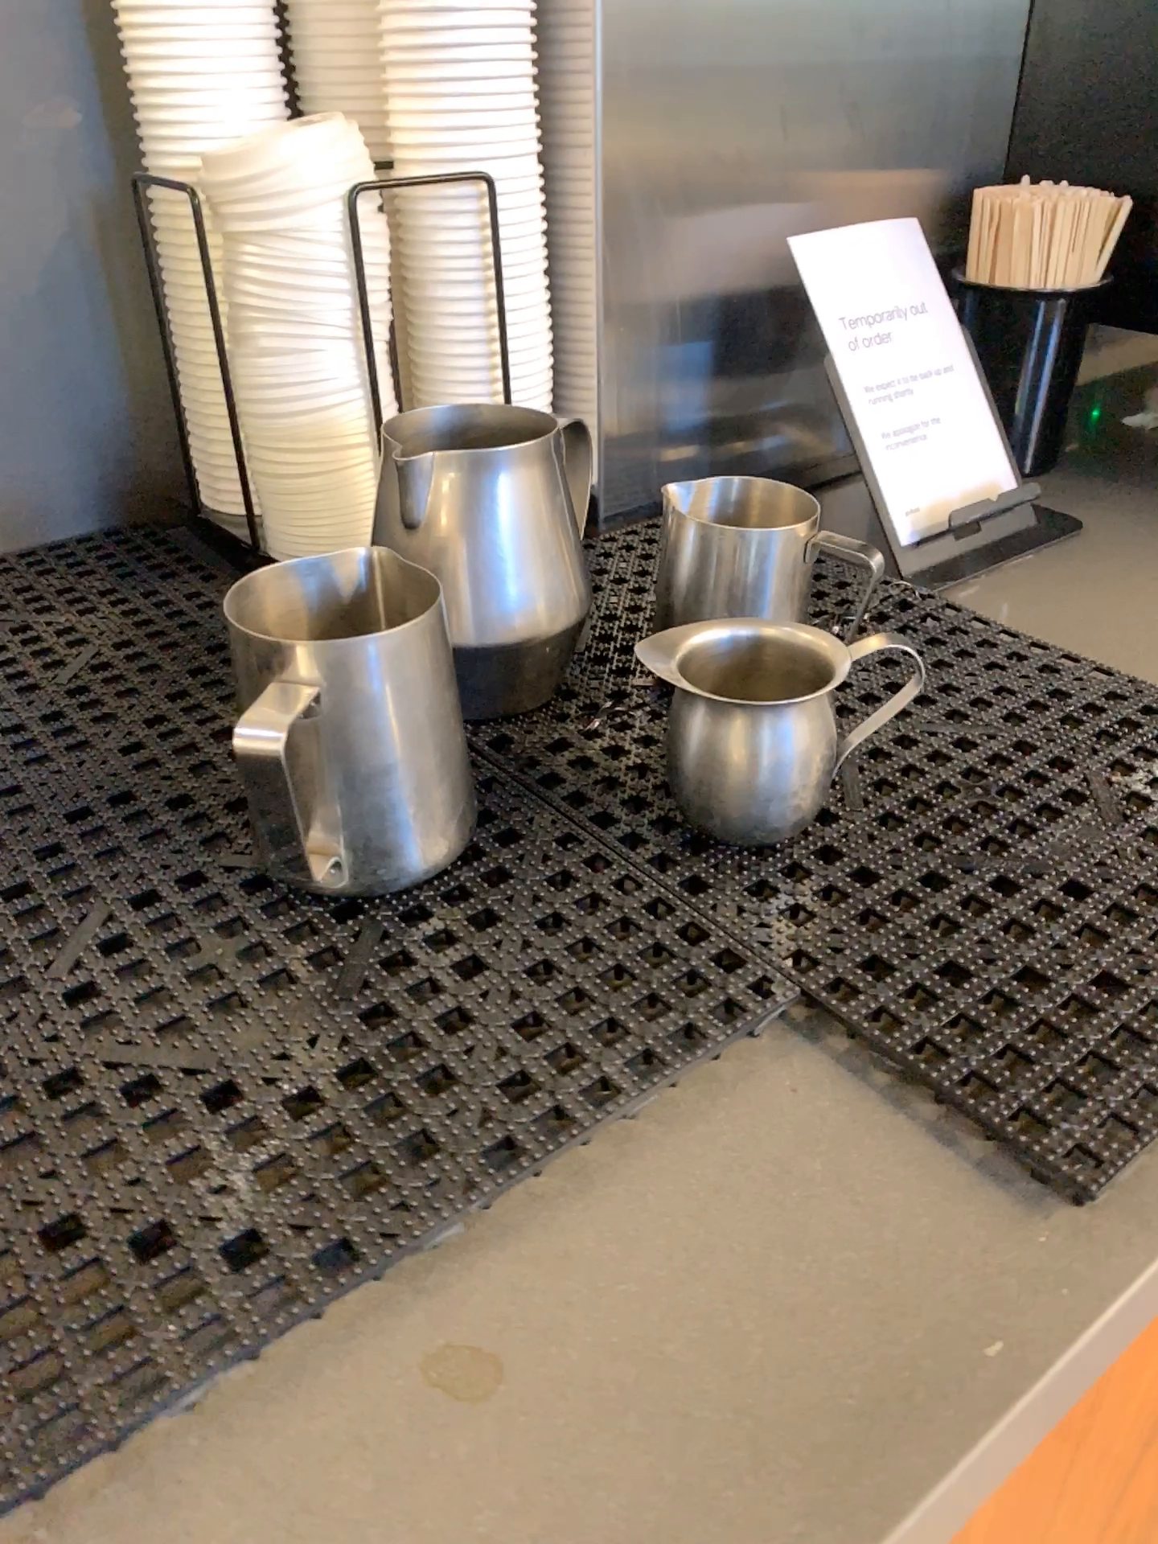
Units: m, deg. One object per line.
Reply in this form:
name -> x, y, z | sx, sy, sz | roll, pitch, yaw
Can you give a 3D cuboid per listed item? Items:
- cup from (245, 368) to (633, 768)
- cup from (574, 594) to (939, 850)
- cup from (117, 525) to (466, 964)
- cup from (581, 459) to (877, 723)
cup -> -0.058, -0.105, 0.570 | 0.100, 0.129, 0.150 | 20, 38, 30
cup -> 0.062, -0.022, 0.456 | 0.120, 0.060, 0.081 | -3, 32, -3
cup -> -0.091, -0.014, 0.425 | 0.080, 0.109, 0.121 | 1, 32, 3
cup -> 0.069, -0.088, 0.554 | 0.110, 0.080, 0.080 | 15, 36, 24
